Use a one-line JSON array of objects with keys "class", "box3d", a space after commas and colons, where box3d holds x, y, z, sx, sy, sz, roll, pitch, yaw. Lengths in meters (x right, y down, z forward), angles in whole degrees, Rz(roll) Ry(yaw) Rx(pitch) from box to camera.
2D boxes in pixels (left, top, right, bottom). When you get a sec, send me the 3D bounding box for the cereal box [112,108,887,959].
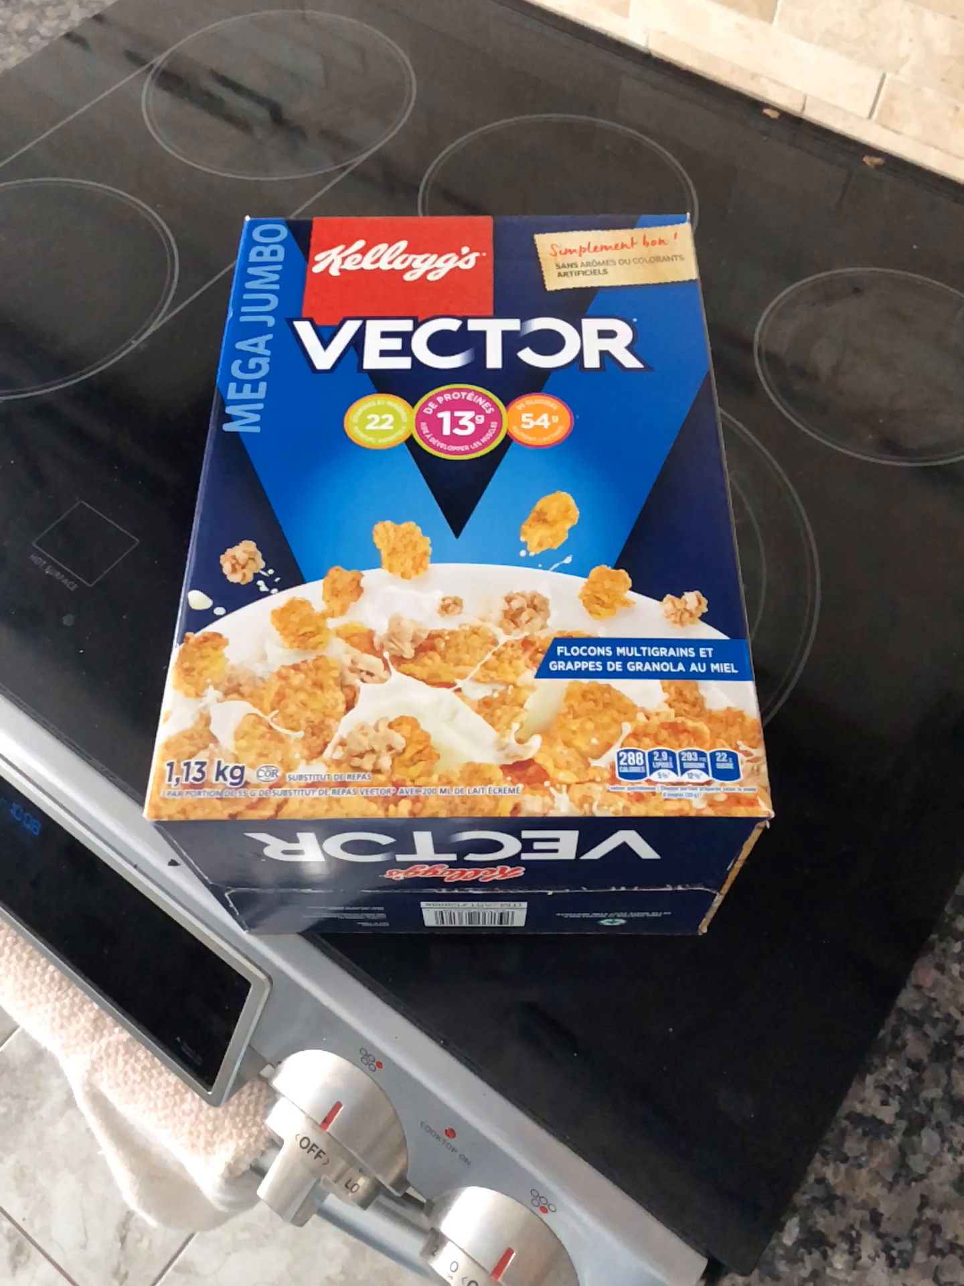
[{"class": "cereal box", "box3d": [0.005, -0.042, 0.448, 0.220, 0.170, 0.310, 0, 64, 0]}]
